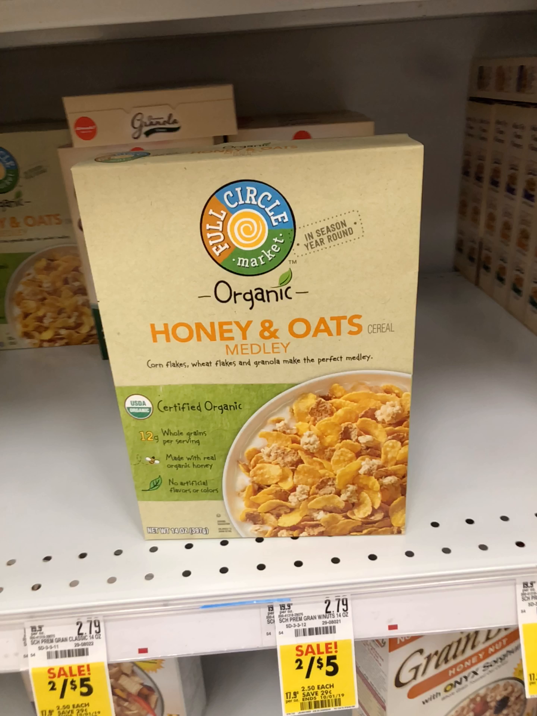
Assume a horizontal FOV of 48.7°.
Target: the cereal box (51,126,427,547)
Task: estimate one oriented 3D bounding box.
[{"bbox_3d":[-0.008,-0.002,0.381,0.190,0.259,0.060,-2,25,4],"label":"cereal box"}]
